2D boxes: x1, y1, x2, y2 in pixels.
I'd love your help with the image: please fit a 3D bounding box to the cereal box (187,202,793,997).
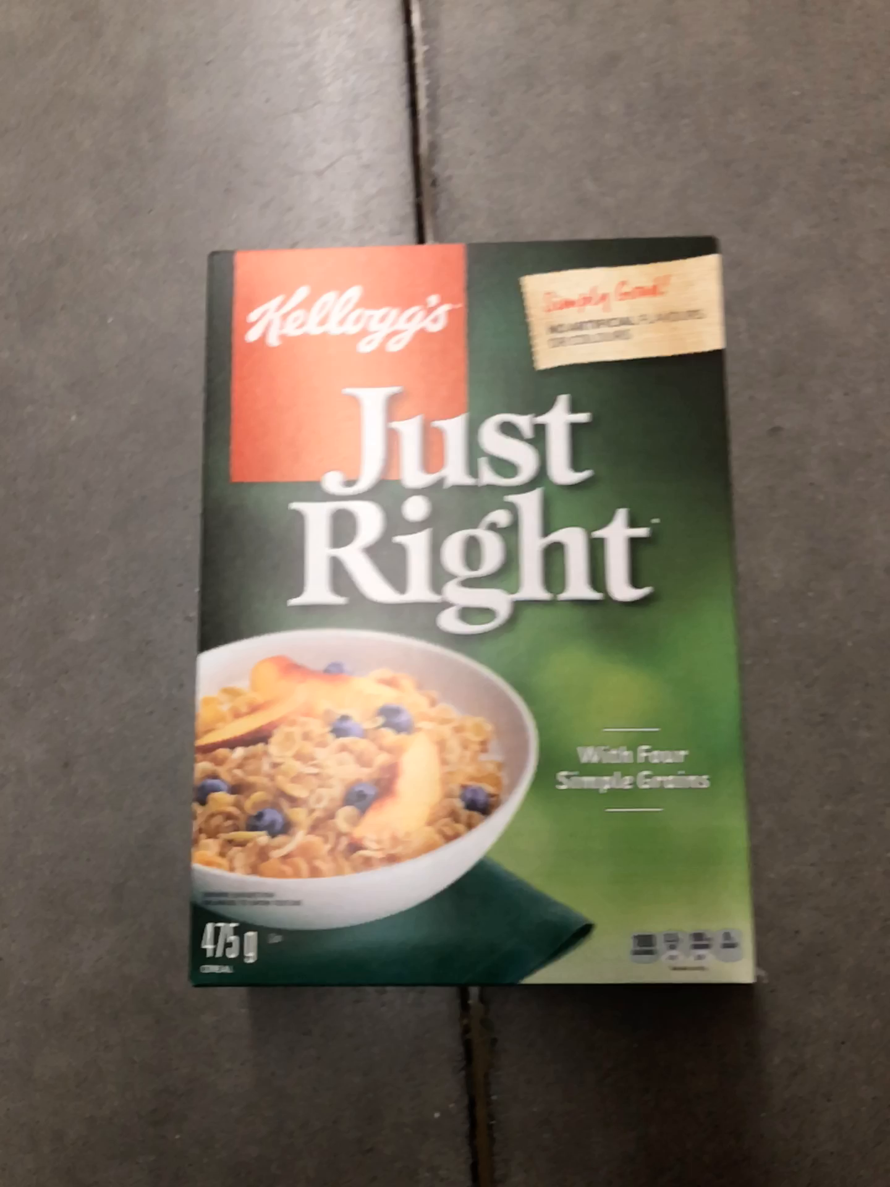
[{"bbox_3d":[0.014,0.000,0.393,0.210,0.060,0.290,-1,81,4],"label":"cereal box"}]
